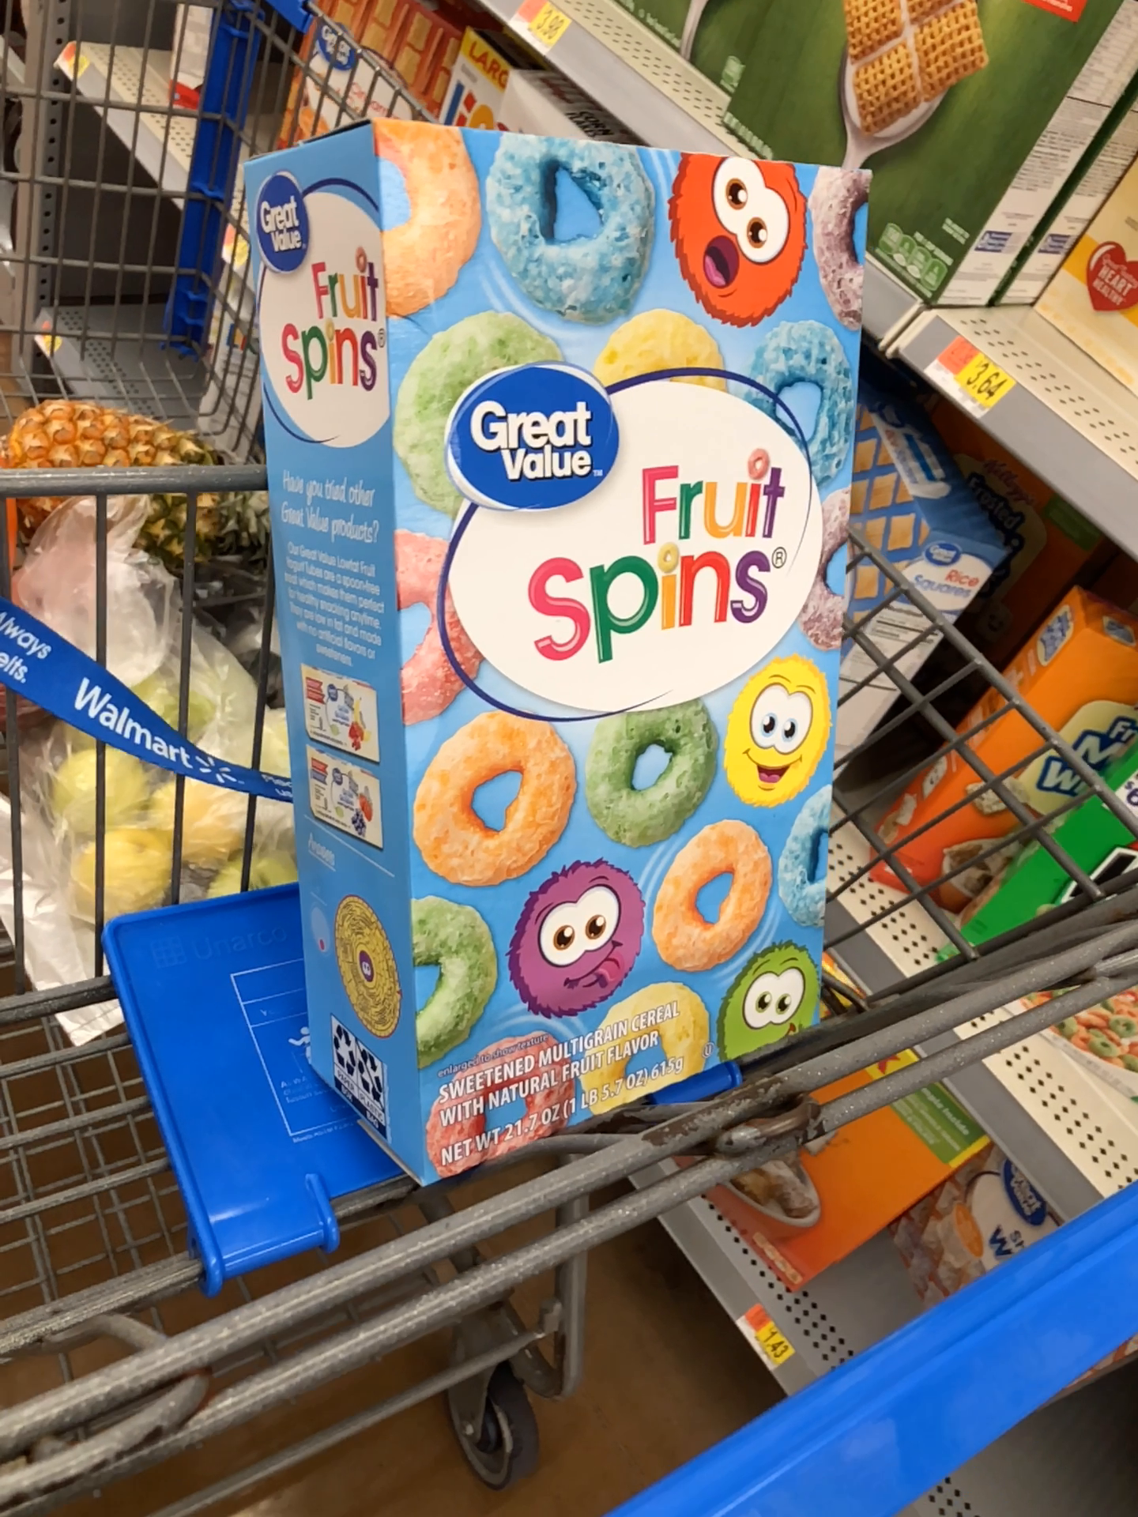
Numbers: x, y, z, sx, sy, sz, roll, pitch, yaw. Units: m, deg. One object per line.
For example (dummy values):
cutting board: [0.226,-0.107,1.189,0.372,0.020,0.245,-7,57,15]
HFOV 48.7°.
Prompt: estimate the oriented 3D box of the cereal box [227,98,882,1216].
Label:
cereal box: [0.000,-0.036,0.465,0.201,0.340,0.090,-12,22,-35]
